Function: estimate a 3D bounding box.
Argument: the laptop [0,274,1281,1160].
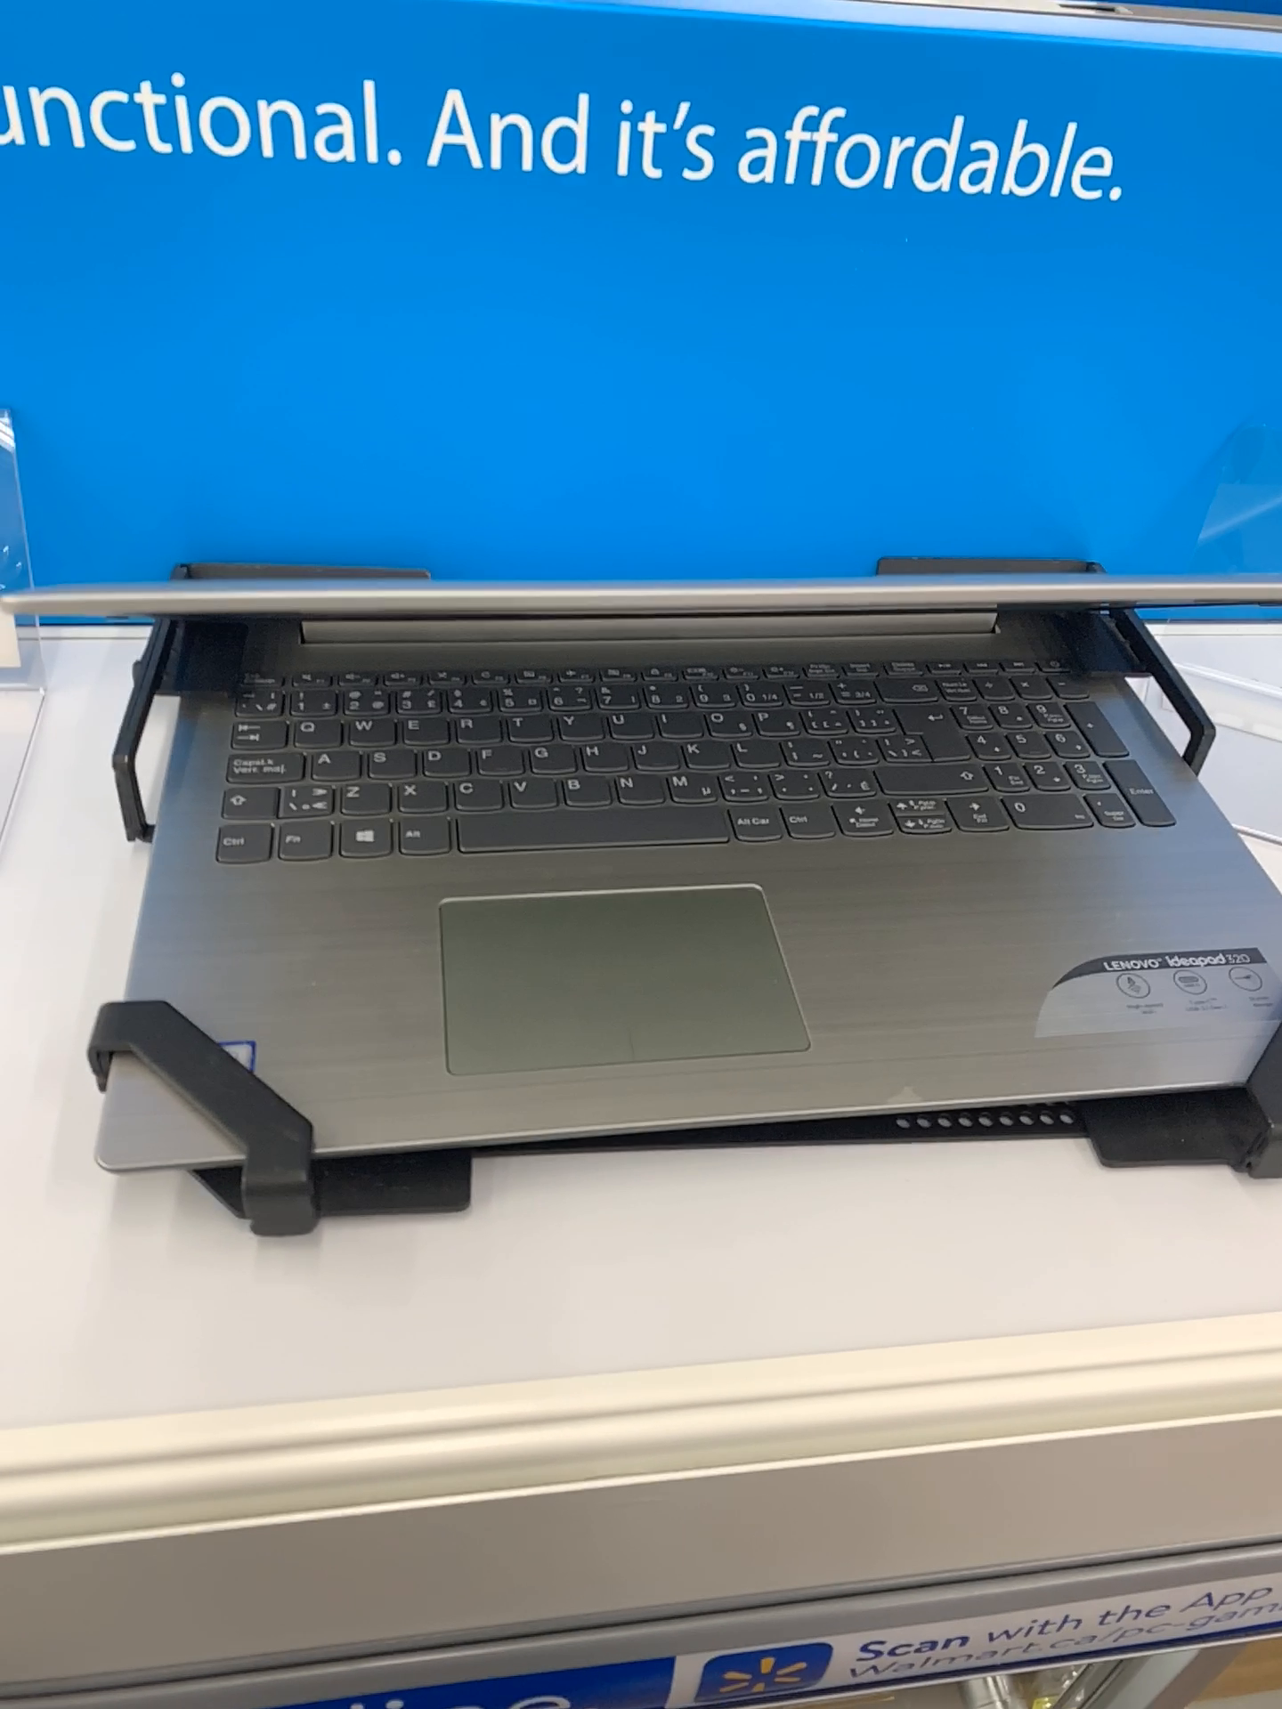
[{"bbox_3d":[0.029,-0.055,0.360,0.324,0.110,0.220,-2,43,-10],"label":"laptop"}]
